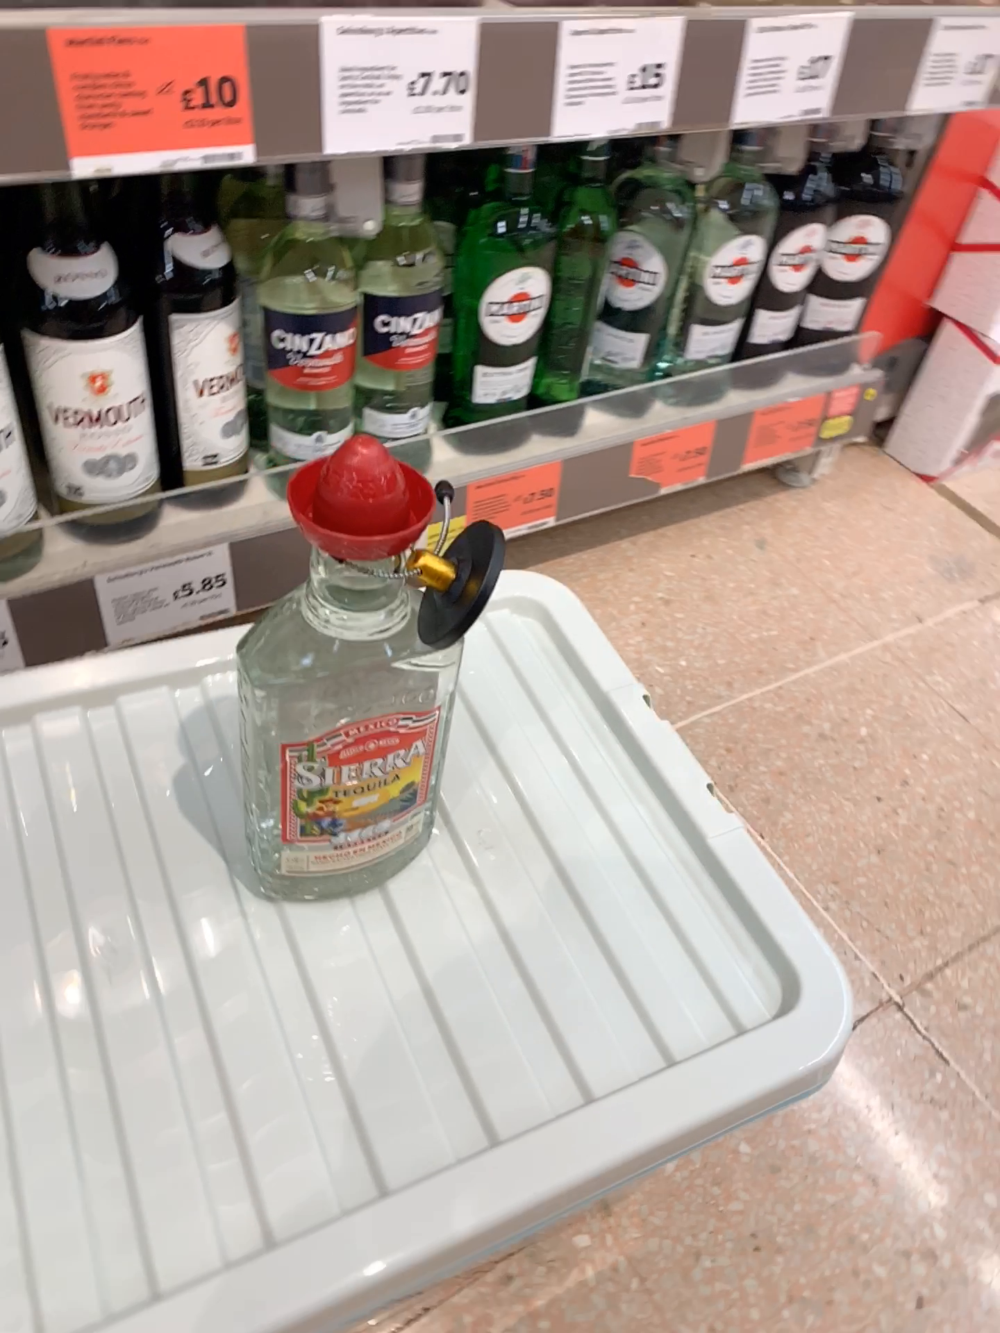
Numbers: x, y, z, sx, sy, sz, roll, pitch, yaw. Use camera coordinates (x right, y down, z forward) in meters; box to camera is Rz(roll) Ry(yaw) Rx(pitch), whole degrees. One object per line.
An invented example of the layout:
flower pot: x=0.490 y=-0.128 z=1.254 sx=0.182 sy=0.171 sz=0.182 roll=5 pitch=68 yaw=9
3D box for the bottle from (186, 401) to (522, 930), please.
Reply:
bottle: x=-0.067 y=0.012 z=0.439 sx=0.103 sy=0.240 sz=0.058 roll=-12 pitch=50 yaw=-22
